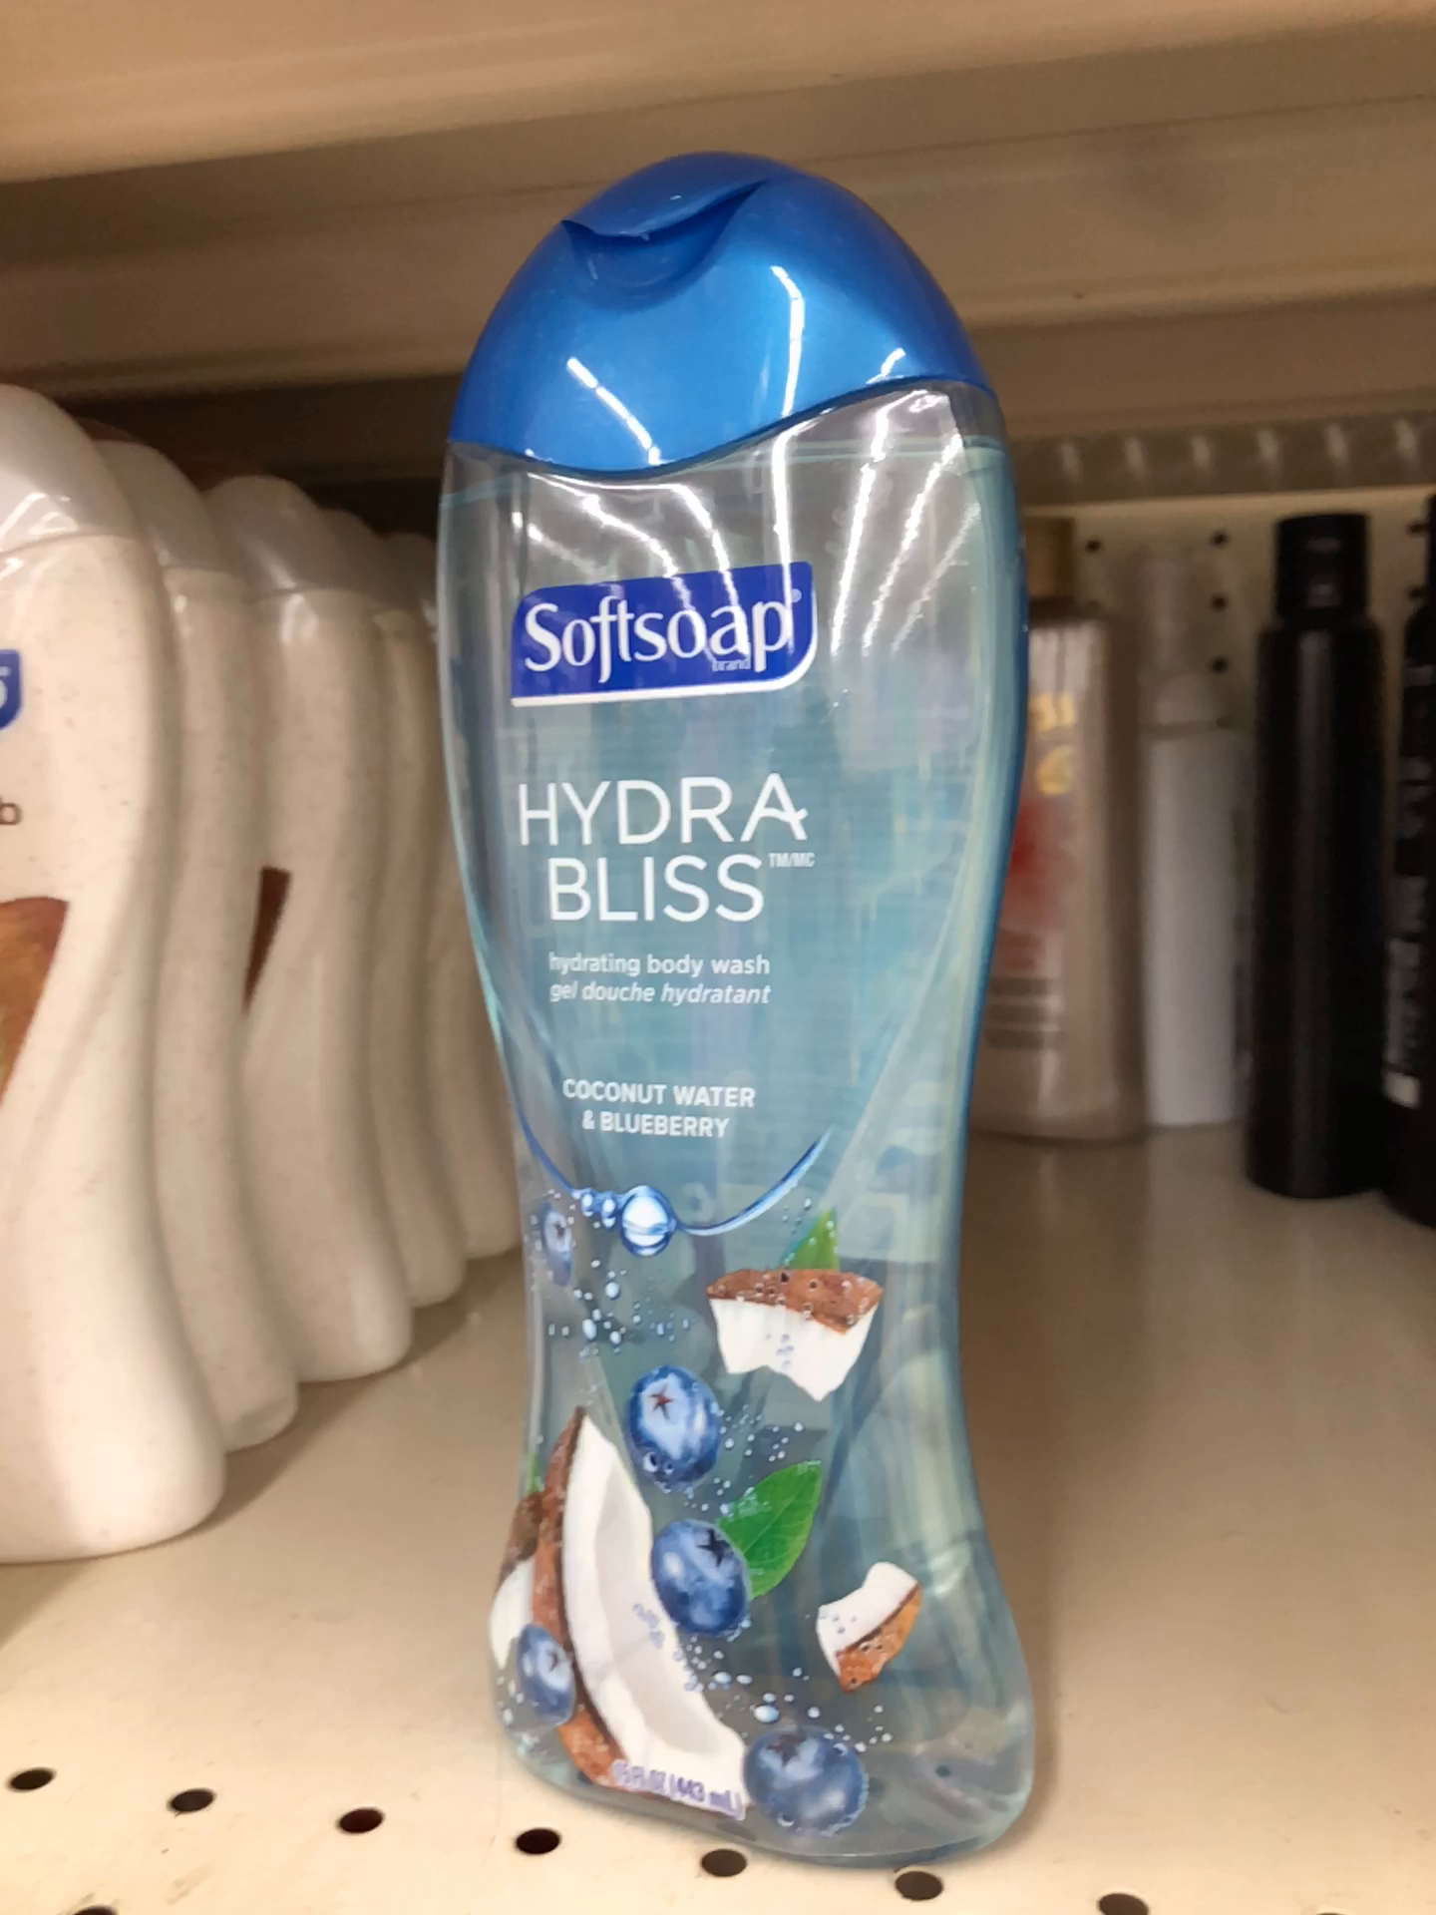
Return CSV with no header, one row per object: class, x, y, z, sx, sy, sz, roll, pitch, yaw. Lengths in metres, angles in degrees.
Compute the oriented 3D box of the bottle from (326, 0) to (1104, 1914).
bottle,0.005,0.001,0.209,0.080,0.211,0.051,2,8,23
